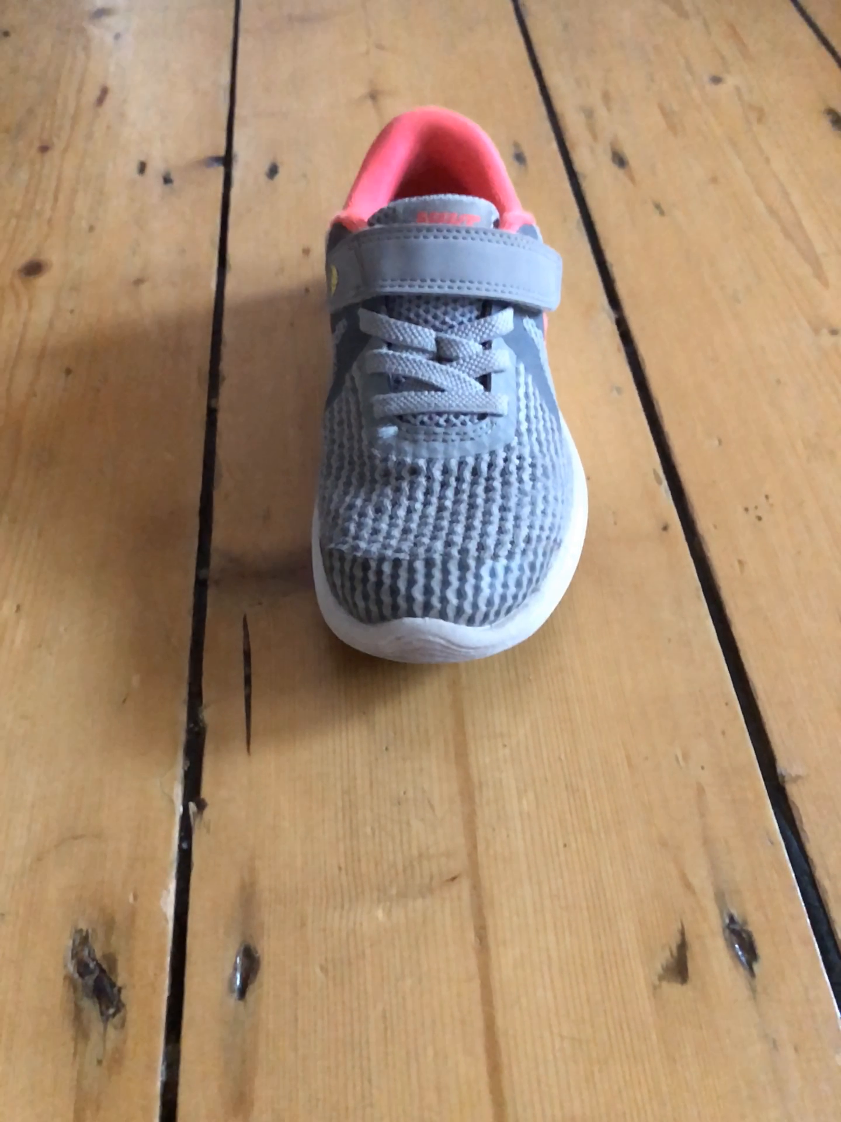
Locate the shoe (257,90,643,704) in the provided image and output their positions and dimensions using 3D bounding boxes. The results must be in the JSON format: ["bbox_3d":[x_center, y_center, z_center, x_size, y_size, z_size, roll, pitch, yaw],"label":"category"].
[{"bbox_3d":[0.006,-0.056,0.275,0.080,0.070,0.181,-2,54,1],"label":"shoe"}]
